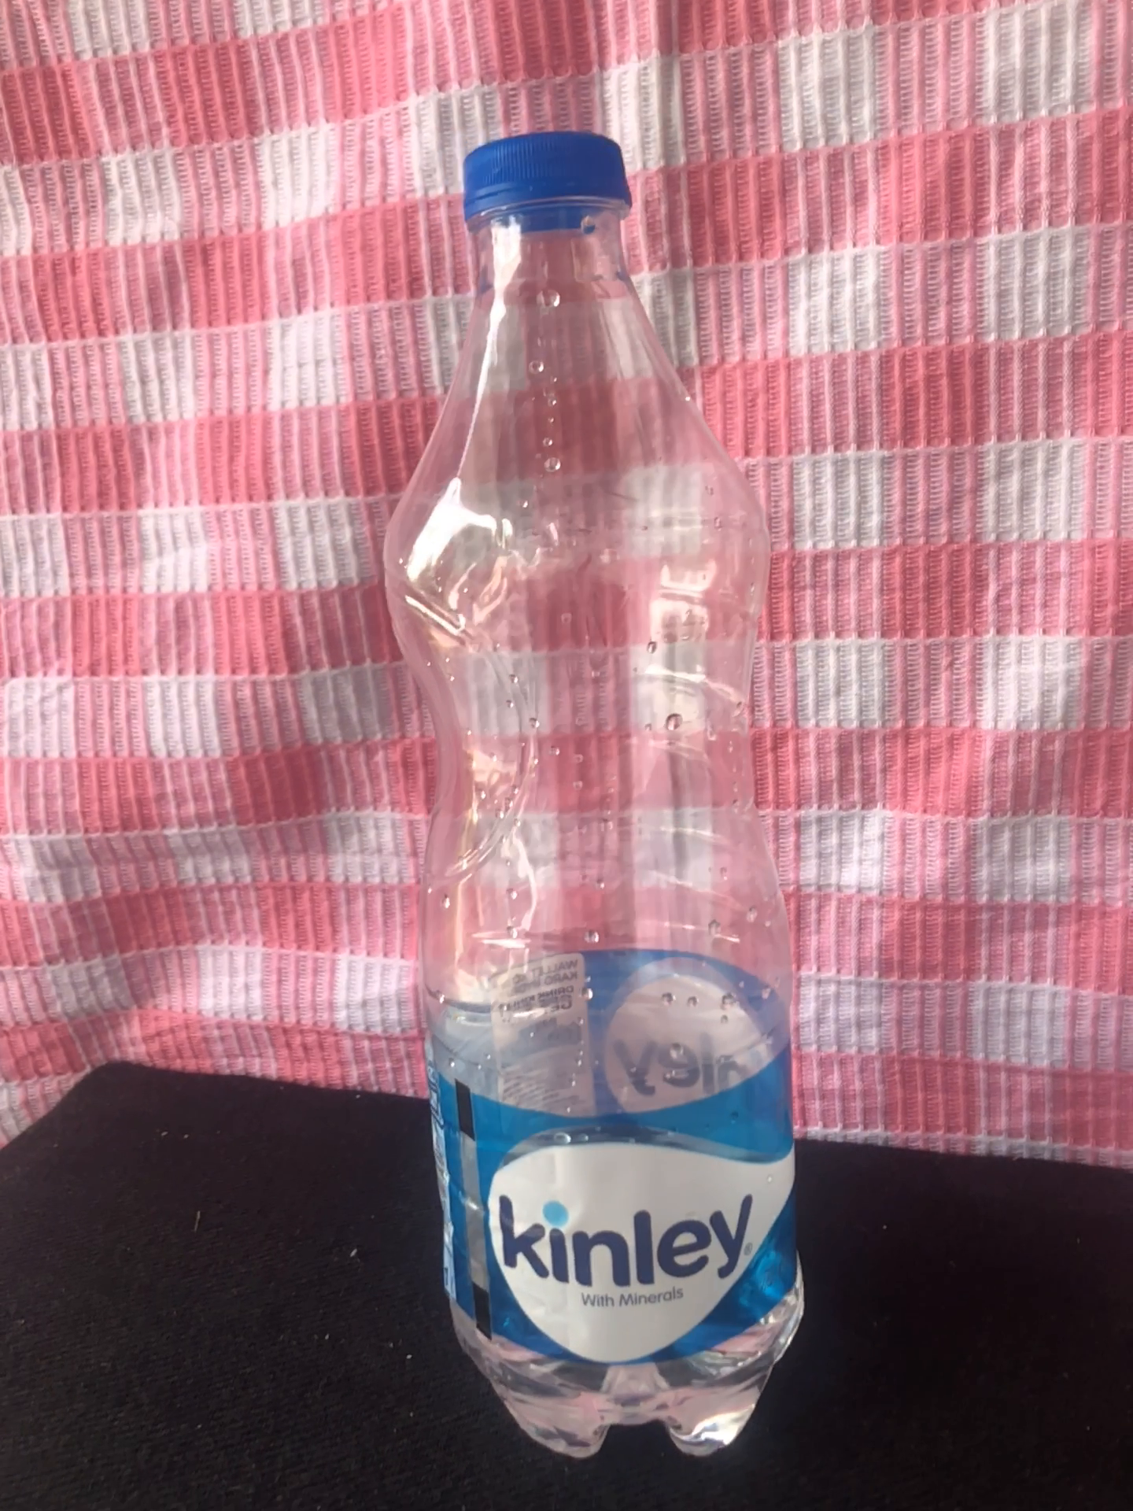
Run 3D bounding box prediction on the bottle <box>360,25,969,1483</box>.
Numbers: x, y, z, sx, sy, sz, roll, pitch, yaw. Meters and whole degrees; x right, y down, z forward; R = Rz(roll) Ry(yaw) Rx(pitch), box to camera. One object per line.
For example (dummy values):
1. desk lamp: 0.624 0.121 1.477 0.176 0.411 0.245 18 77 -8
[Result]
1. bottle: 0.016 0.007 0.258 0.090 0.259 0.080 -2 15 -3
